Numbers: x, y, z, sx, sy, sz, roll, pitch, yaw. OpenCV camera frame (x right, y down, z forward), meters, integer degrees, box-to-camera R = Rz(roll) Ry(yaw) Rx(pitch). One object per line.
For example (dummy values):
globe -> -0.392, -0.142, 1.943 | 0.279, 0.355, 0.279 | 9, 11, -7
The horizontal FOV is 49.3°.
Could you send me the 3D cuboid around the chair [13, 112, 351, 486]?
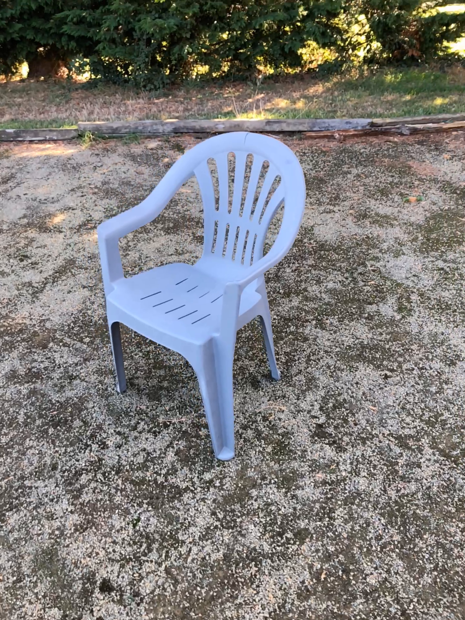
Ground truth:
chair -> -0.112, -0.083, 1.551 | 0.631, 0.775, 0.623 | 26, 44, 34
